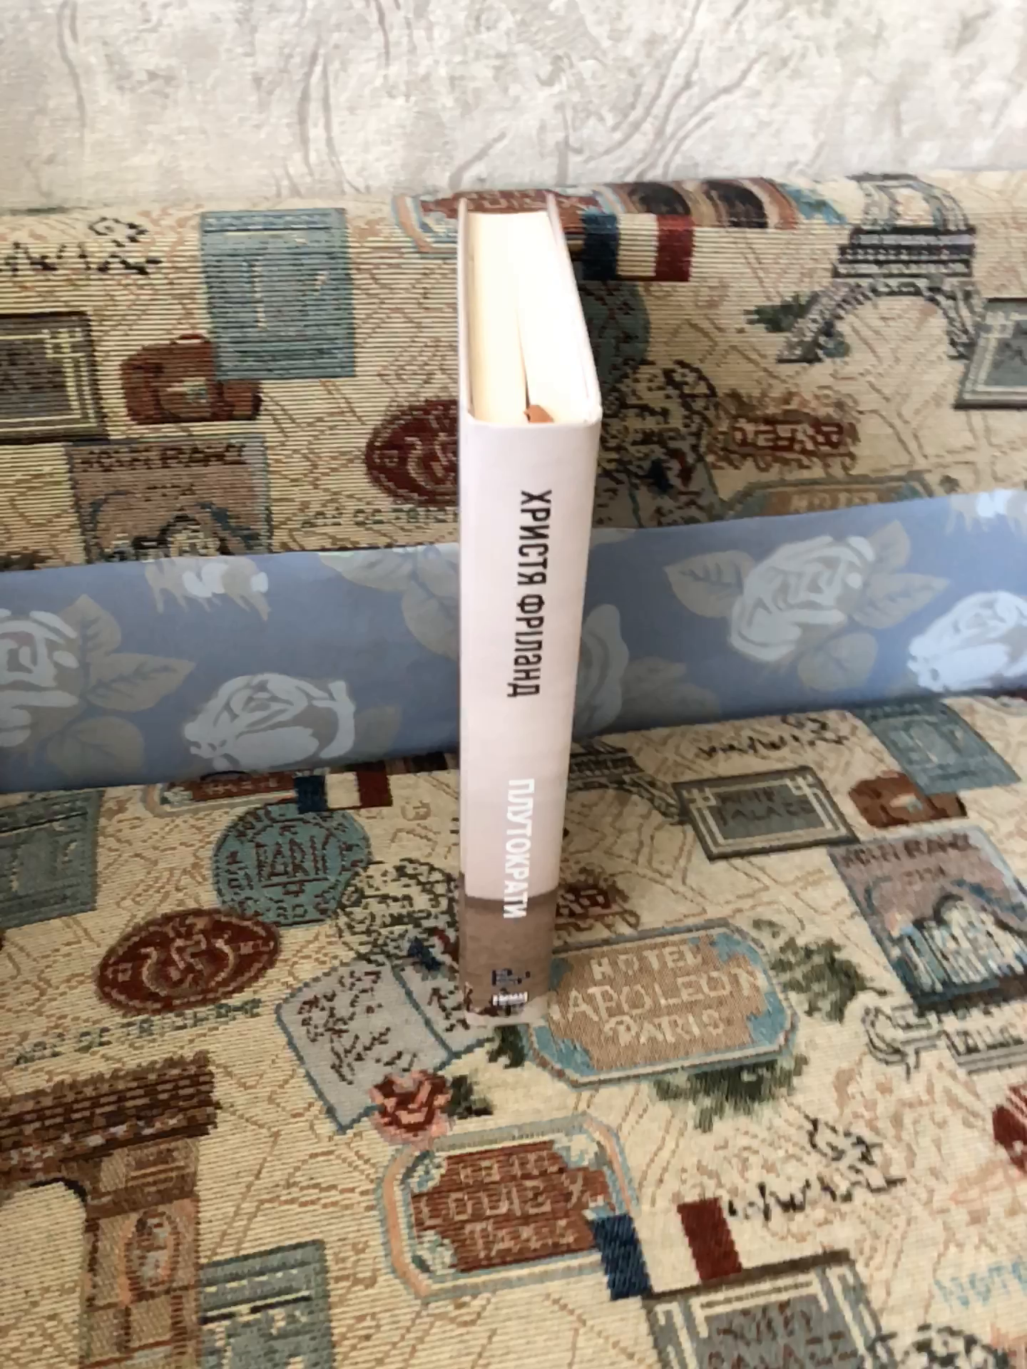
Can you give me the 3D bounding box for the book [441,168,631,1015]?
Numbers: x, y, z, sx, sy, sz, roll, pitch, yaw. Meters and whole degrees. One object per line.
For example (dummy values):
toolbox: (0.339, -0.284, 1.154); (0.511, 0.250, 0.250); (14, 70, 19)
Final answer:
book: (-0.002, -0.029, 0.373); (0.040, 0.218, 0.171); (0, 40, -3)
